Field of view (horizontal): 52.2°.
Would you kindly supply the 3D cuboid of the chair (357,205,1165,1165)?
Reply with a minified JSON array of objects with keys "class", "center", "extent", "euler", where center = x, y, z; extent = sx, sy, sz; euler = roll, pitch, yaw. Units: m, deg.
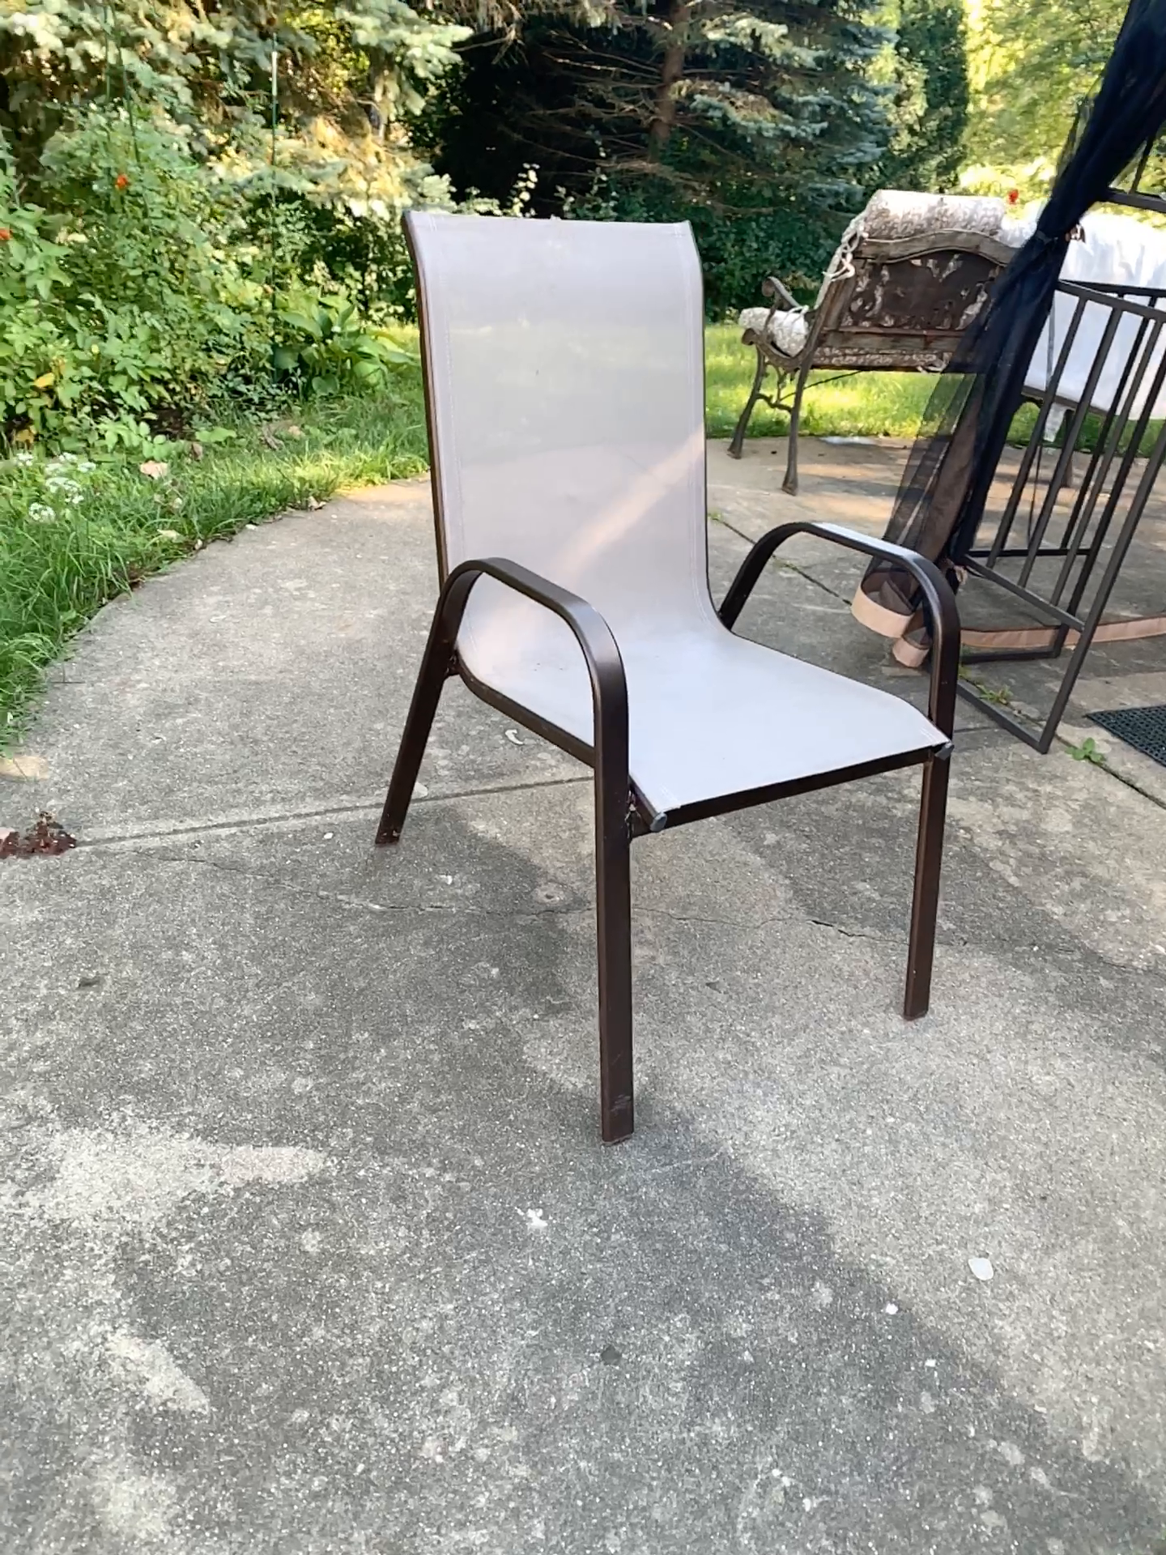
[{"class":"chair","center":[0.134,-0.179,1.474],"extent":[0.571,0.845,0.743],"euler":[-12,35,-29]}]
